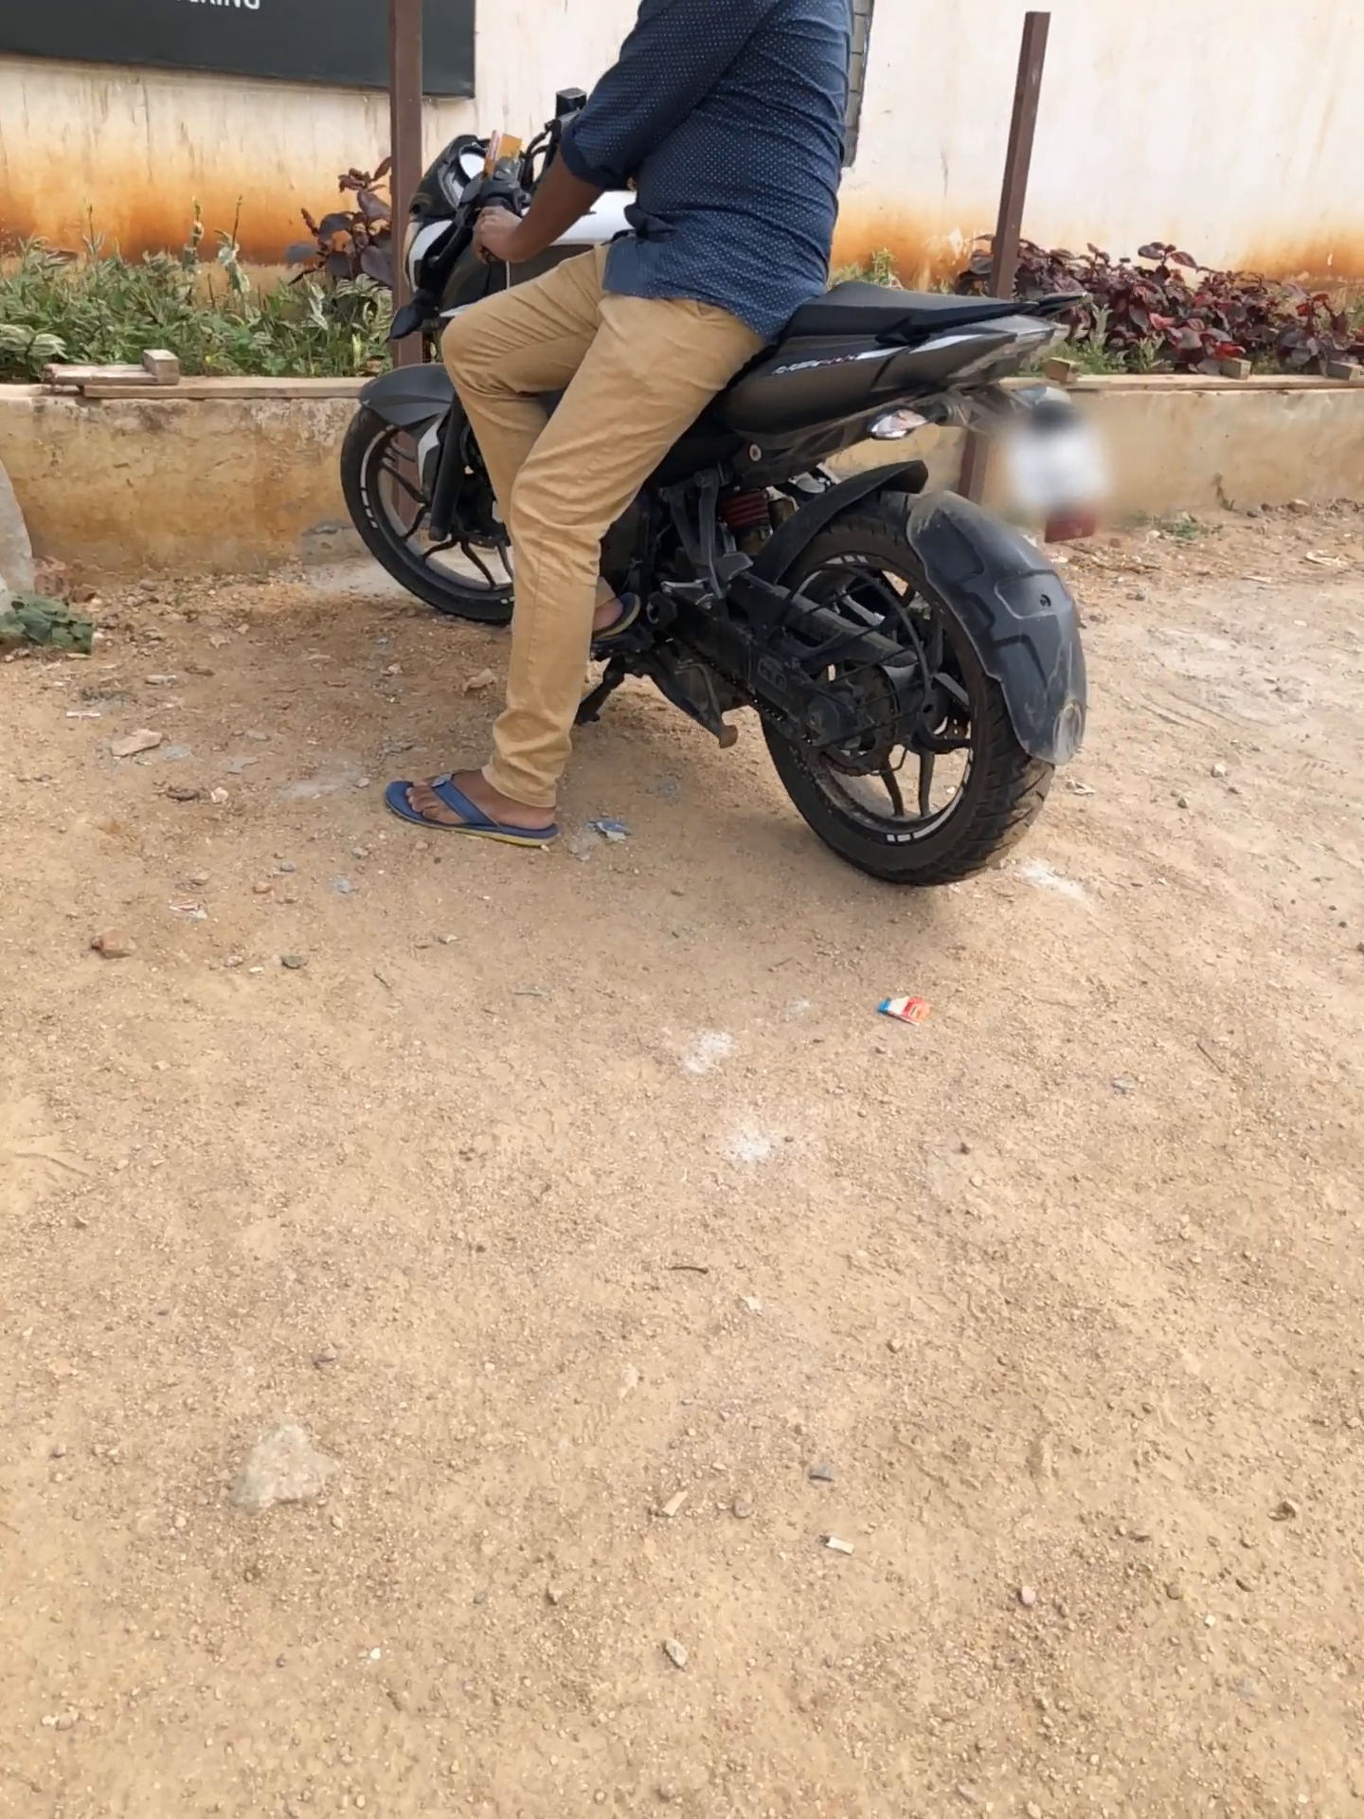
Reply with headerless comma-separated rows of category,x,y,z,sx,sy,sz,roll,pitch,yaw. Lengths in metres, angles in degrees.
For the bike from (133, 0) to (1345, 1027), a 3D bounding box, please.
bike,-0.078,-0.844,2.550,0.783,1.122,1.851,-19,39,-40
